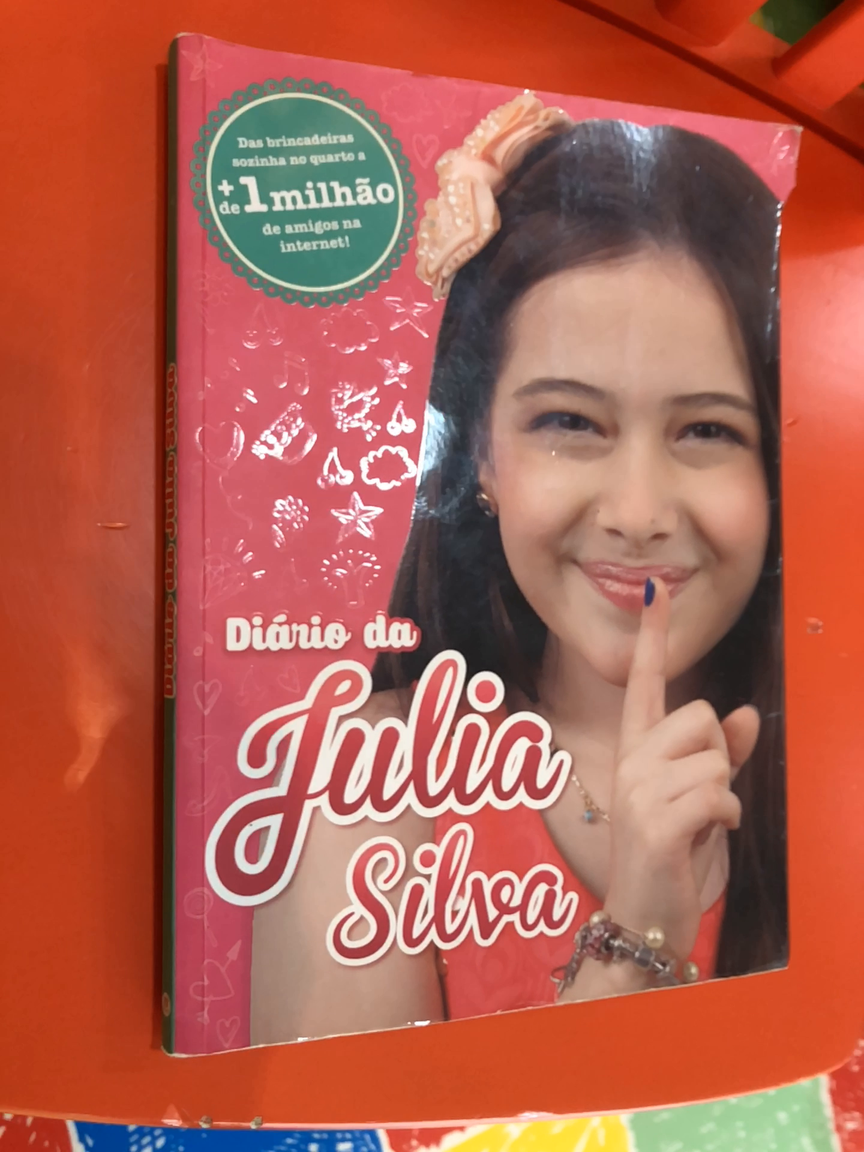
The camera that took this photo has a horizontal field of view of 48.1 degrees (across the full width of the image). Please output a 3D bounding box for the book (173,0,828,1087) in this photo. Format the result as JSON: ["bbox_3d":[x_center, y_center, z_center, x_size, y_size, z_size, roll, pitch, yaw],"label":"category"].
[{"bbox_3d":[0.024,-0.012,0.248,0.171,0.020,0.241,1,87,-21],"label":"book"}]
